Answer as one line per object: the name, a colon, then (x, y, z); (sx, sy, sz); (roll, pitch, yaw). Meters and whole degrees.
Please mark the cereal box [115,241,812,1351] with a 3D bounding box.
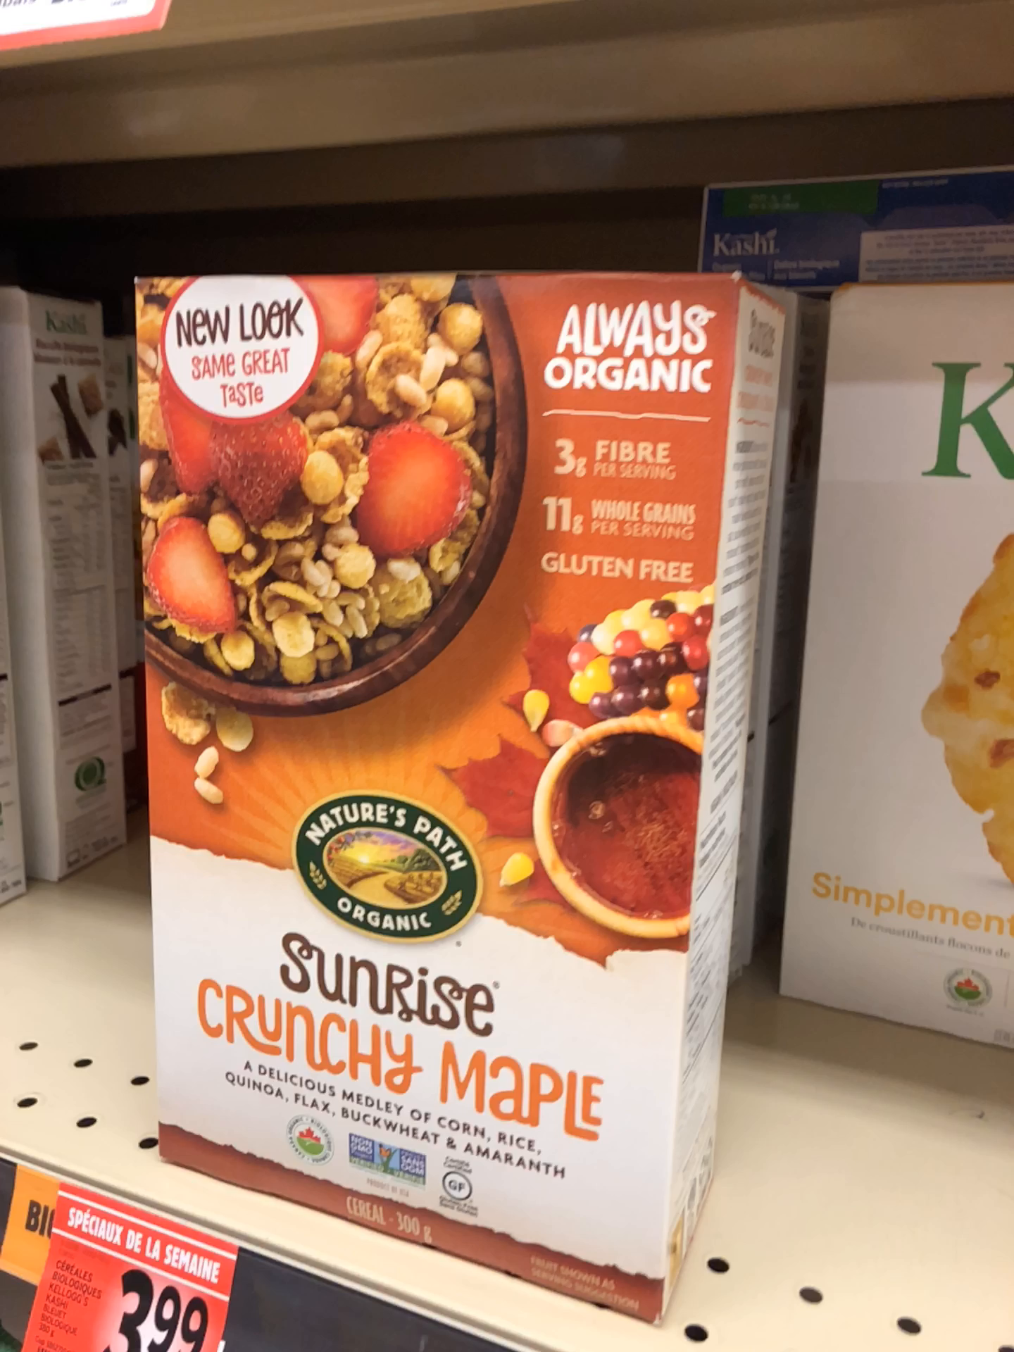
cereal box: (-0.017, 0.027, 0.317); (0.170, 0.269, 0.060); (7, 13, 22)
